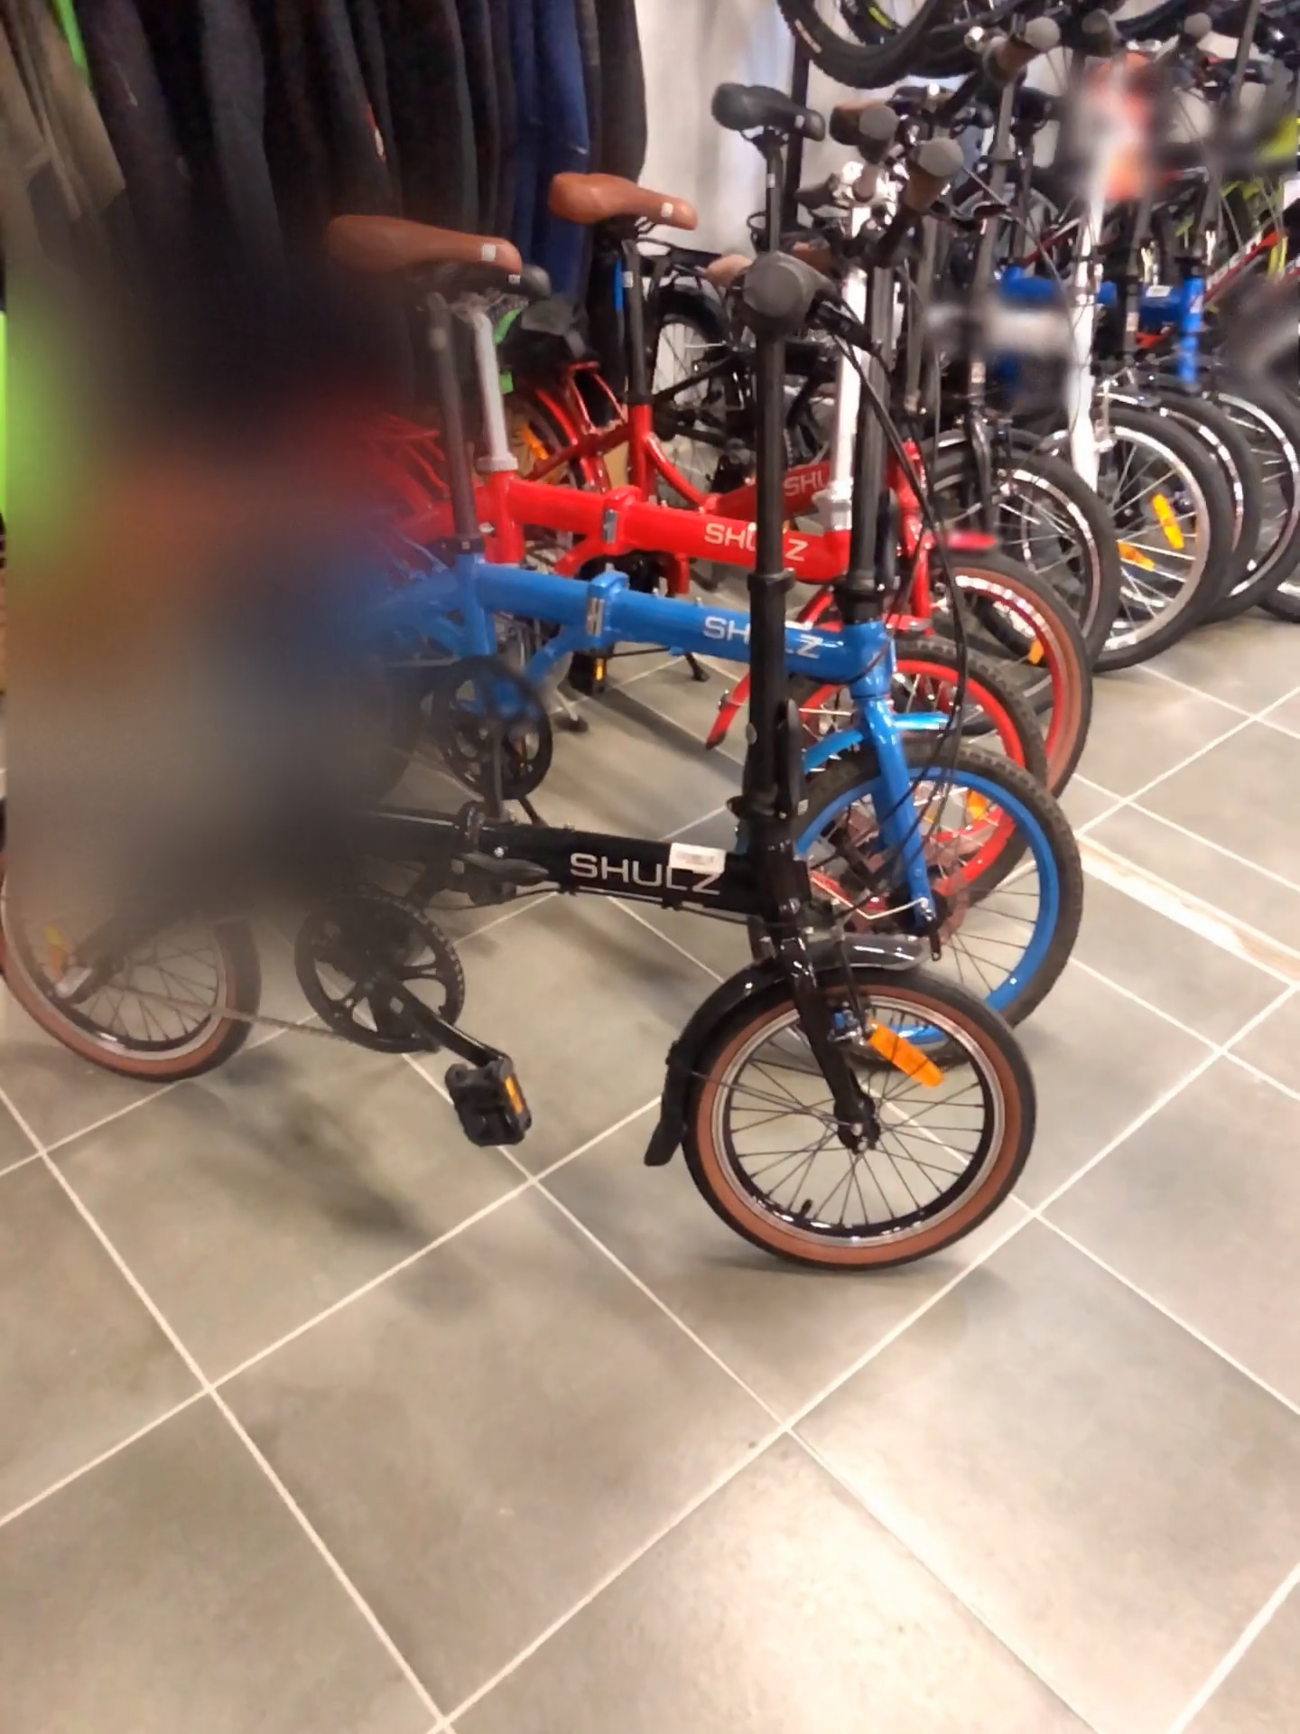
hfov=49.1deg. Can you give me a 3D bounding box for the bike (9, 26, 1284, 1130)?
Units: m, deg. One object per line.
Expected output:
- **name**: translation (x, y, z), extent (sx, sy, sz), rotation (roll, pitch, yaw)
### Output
- **bike**: translation (-0.017, -0.442, 1.956), extent (1.374, 1.028, 0.570), rotation (18, 39, 18)

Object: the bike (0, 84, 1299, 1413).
- **bike**: translation (-0.197, -0.144, 1.479), extent (1.273, 1.057, 0.568), rotation (9, 37, 11)
